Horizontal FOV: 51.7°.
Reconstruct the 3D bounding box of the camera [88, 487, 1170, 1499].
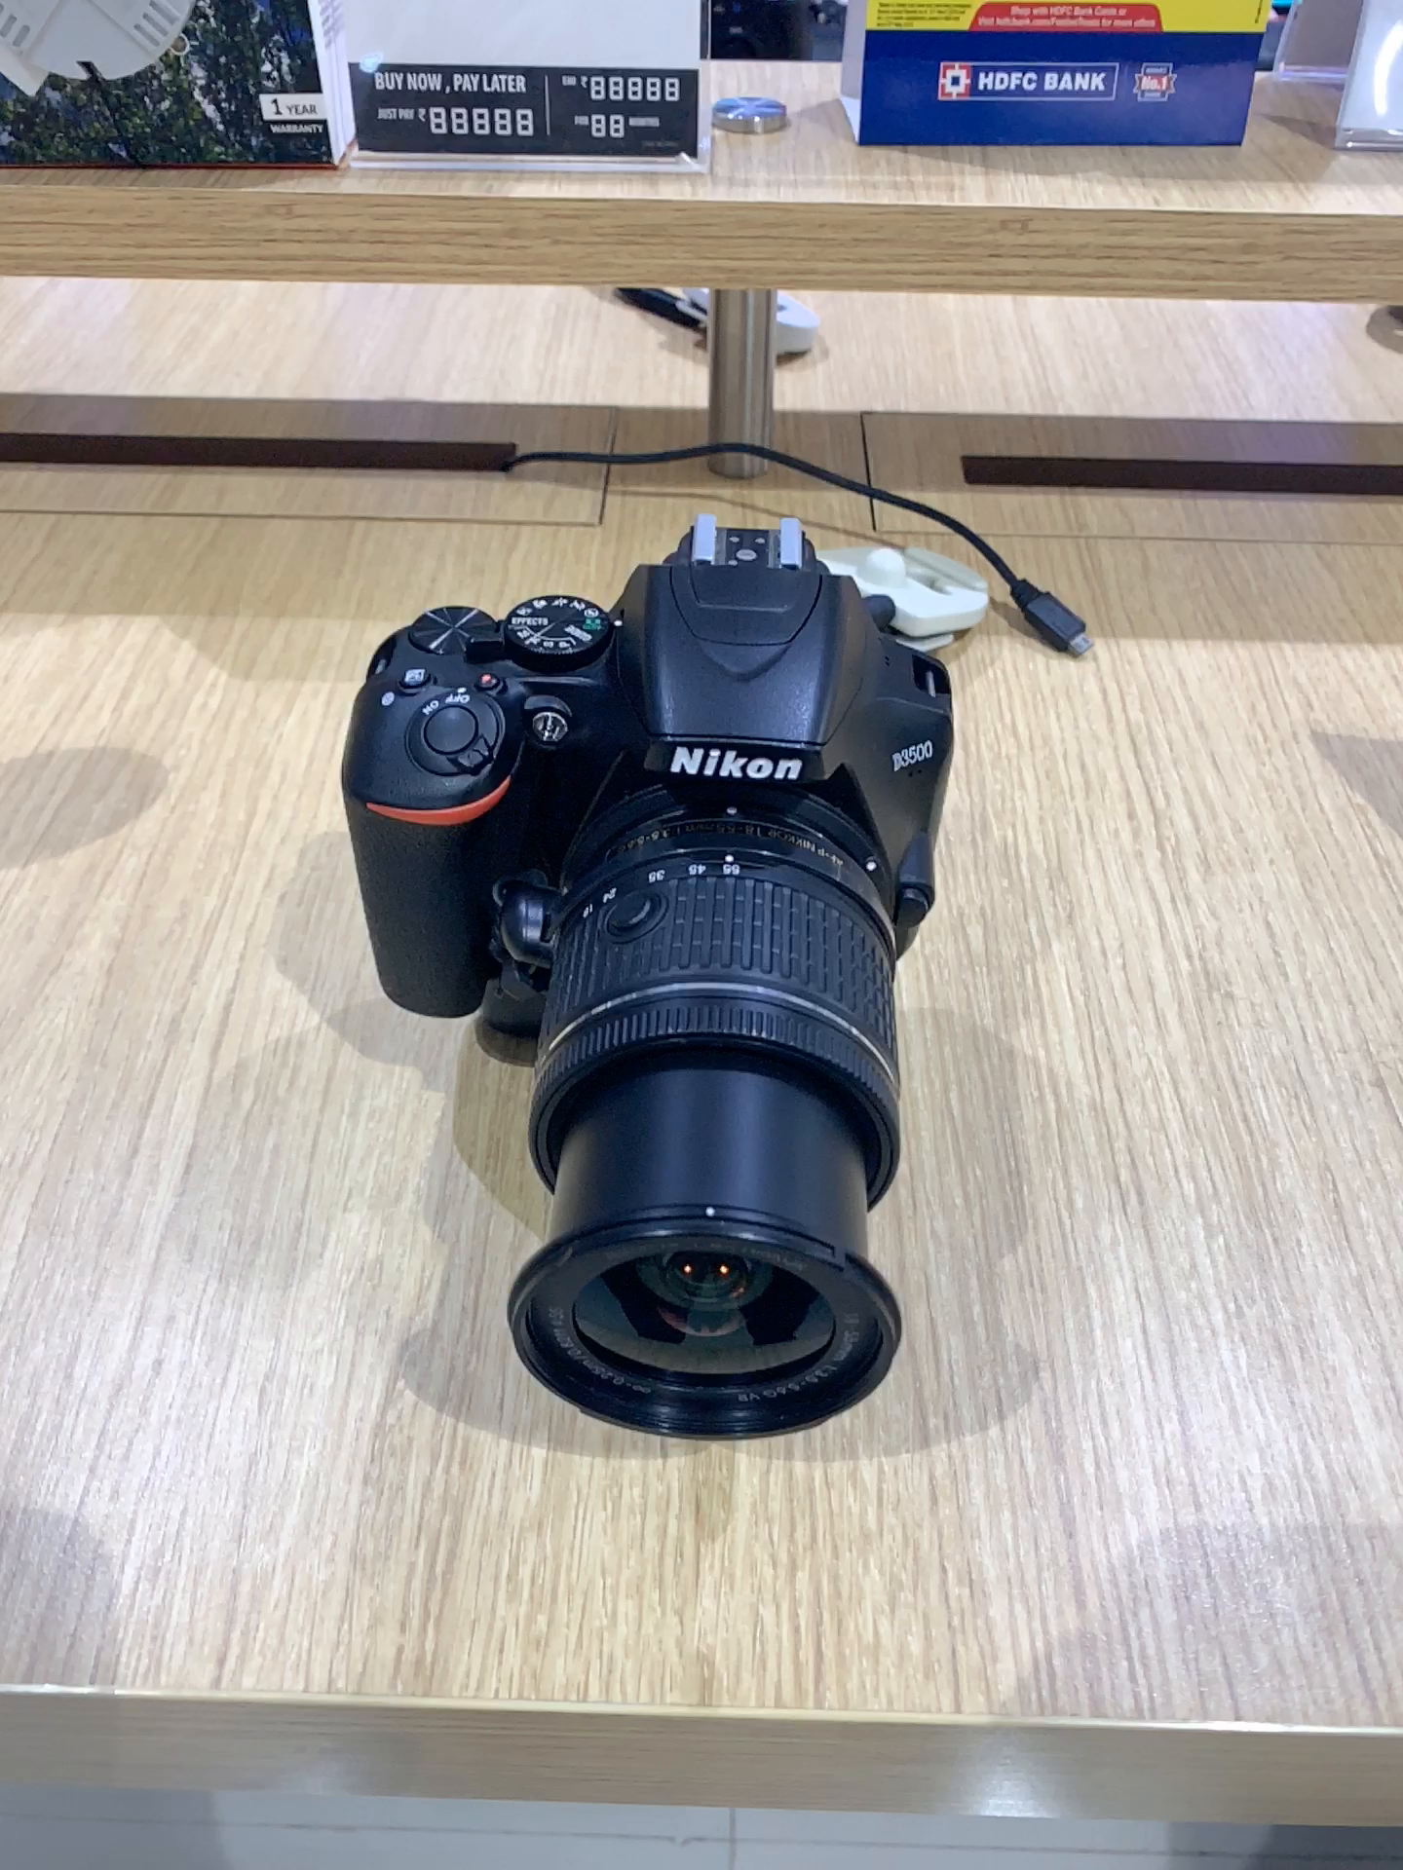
[{"bbox_3d":[-0.006,0.004,0.236,0.117,0.095,0.131,2,45,1],"label":"camera"}]
